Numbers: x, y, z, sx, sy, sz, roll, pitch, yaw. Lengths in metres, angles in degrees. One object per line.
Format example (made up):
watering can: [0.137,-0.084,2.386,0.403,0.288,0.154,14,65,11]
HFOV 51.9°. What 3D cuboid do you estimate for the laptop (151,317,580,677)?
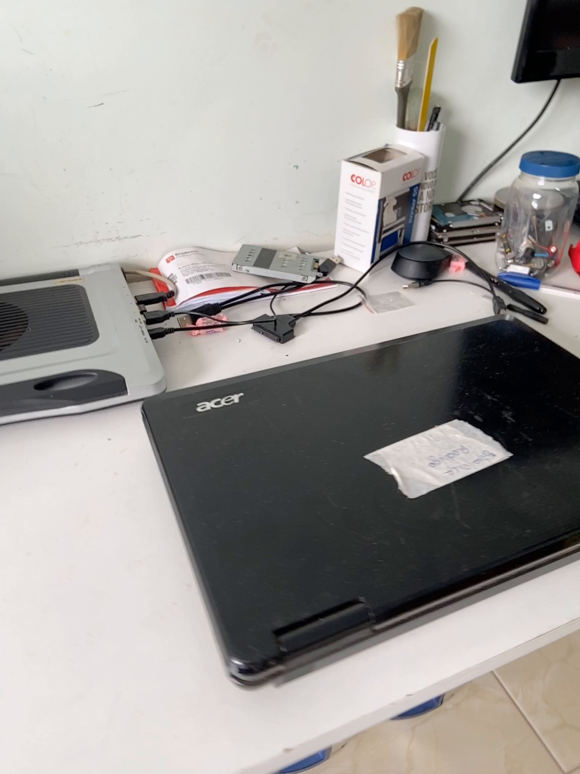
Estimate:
laptop: [0.099,0.039,0.444,0.357,0.005,0.239,-14,38,-18]
